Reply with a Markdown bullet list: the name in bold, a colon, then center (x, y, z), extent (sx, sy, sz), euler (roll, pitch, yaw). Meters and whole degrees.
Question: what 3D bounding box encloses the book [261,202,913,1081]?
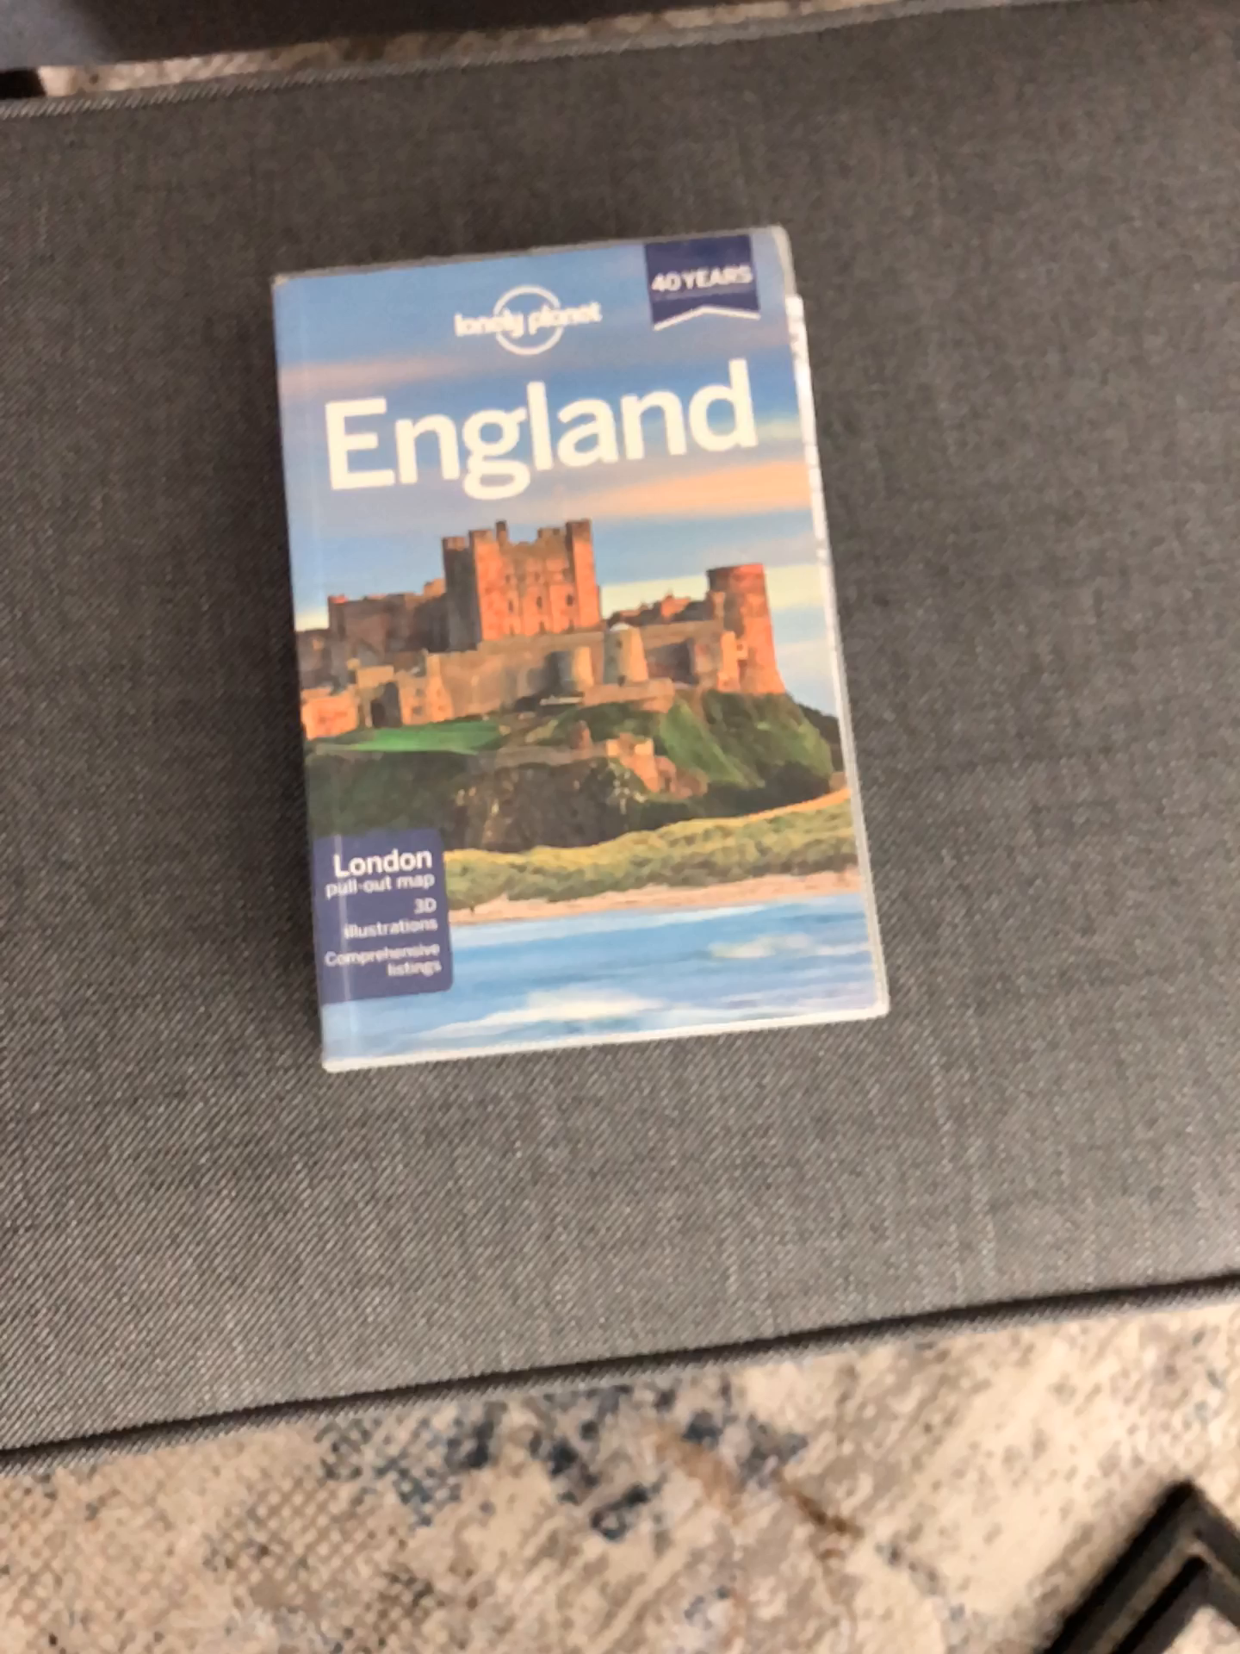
- **book**: center (-0.011, -0.045, 0.345), extent (0.135, 0.040, 0.200), euler (-6, 80, 2)
